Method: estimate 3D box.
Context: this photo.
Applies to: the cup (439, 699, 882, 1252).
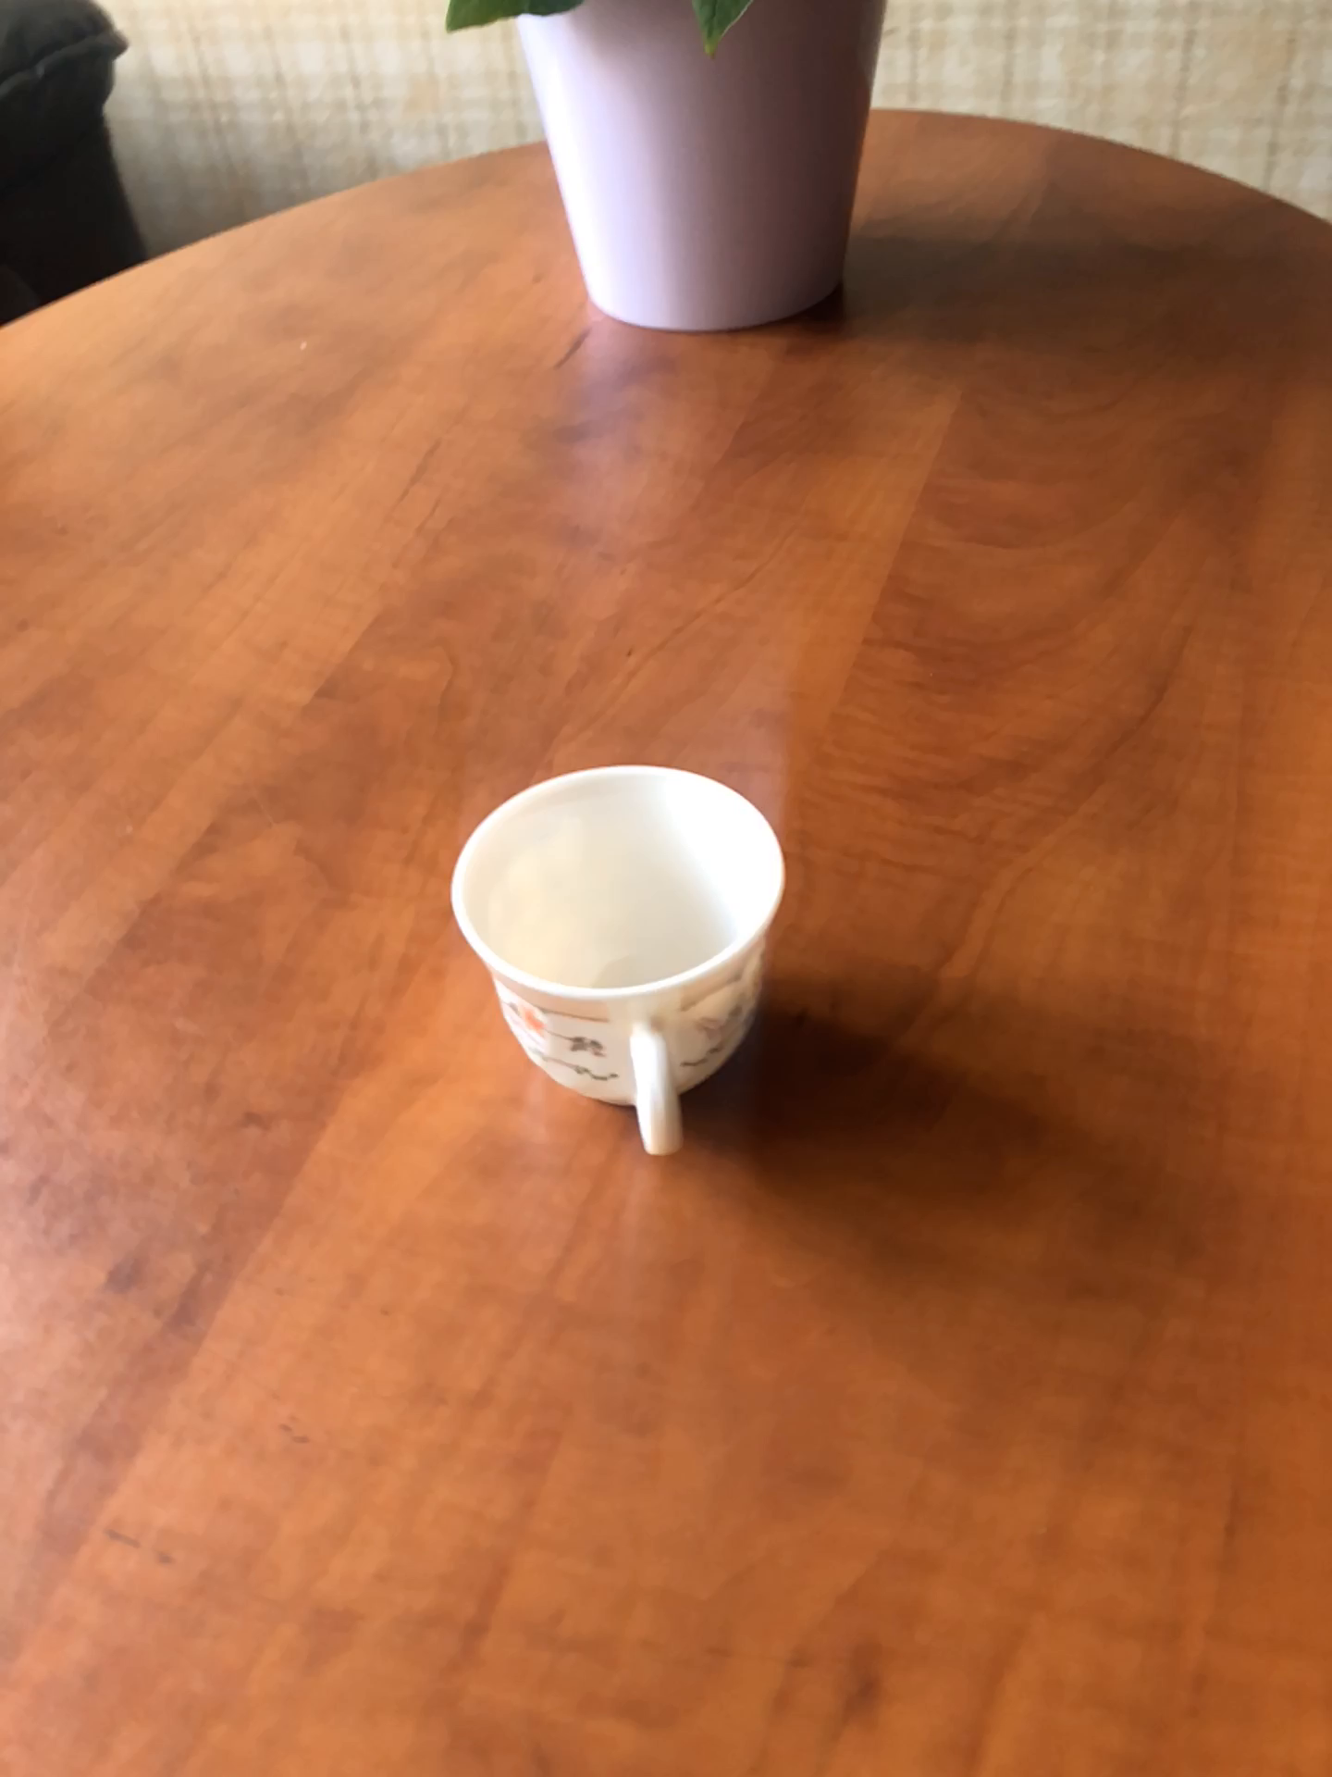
[{"bbox_3d":[-0.003,0.013,0.277,0.063,0.048,0.084,-11,44,-6],"label":"cup"}]
